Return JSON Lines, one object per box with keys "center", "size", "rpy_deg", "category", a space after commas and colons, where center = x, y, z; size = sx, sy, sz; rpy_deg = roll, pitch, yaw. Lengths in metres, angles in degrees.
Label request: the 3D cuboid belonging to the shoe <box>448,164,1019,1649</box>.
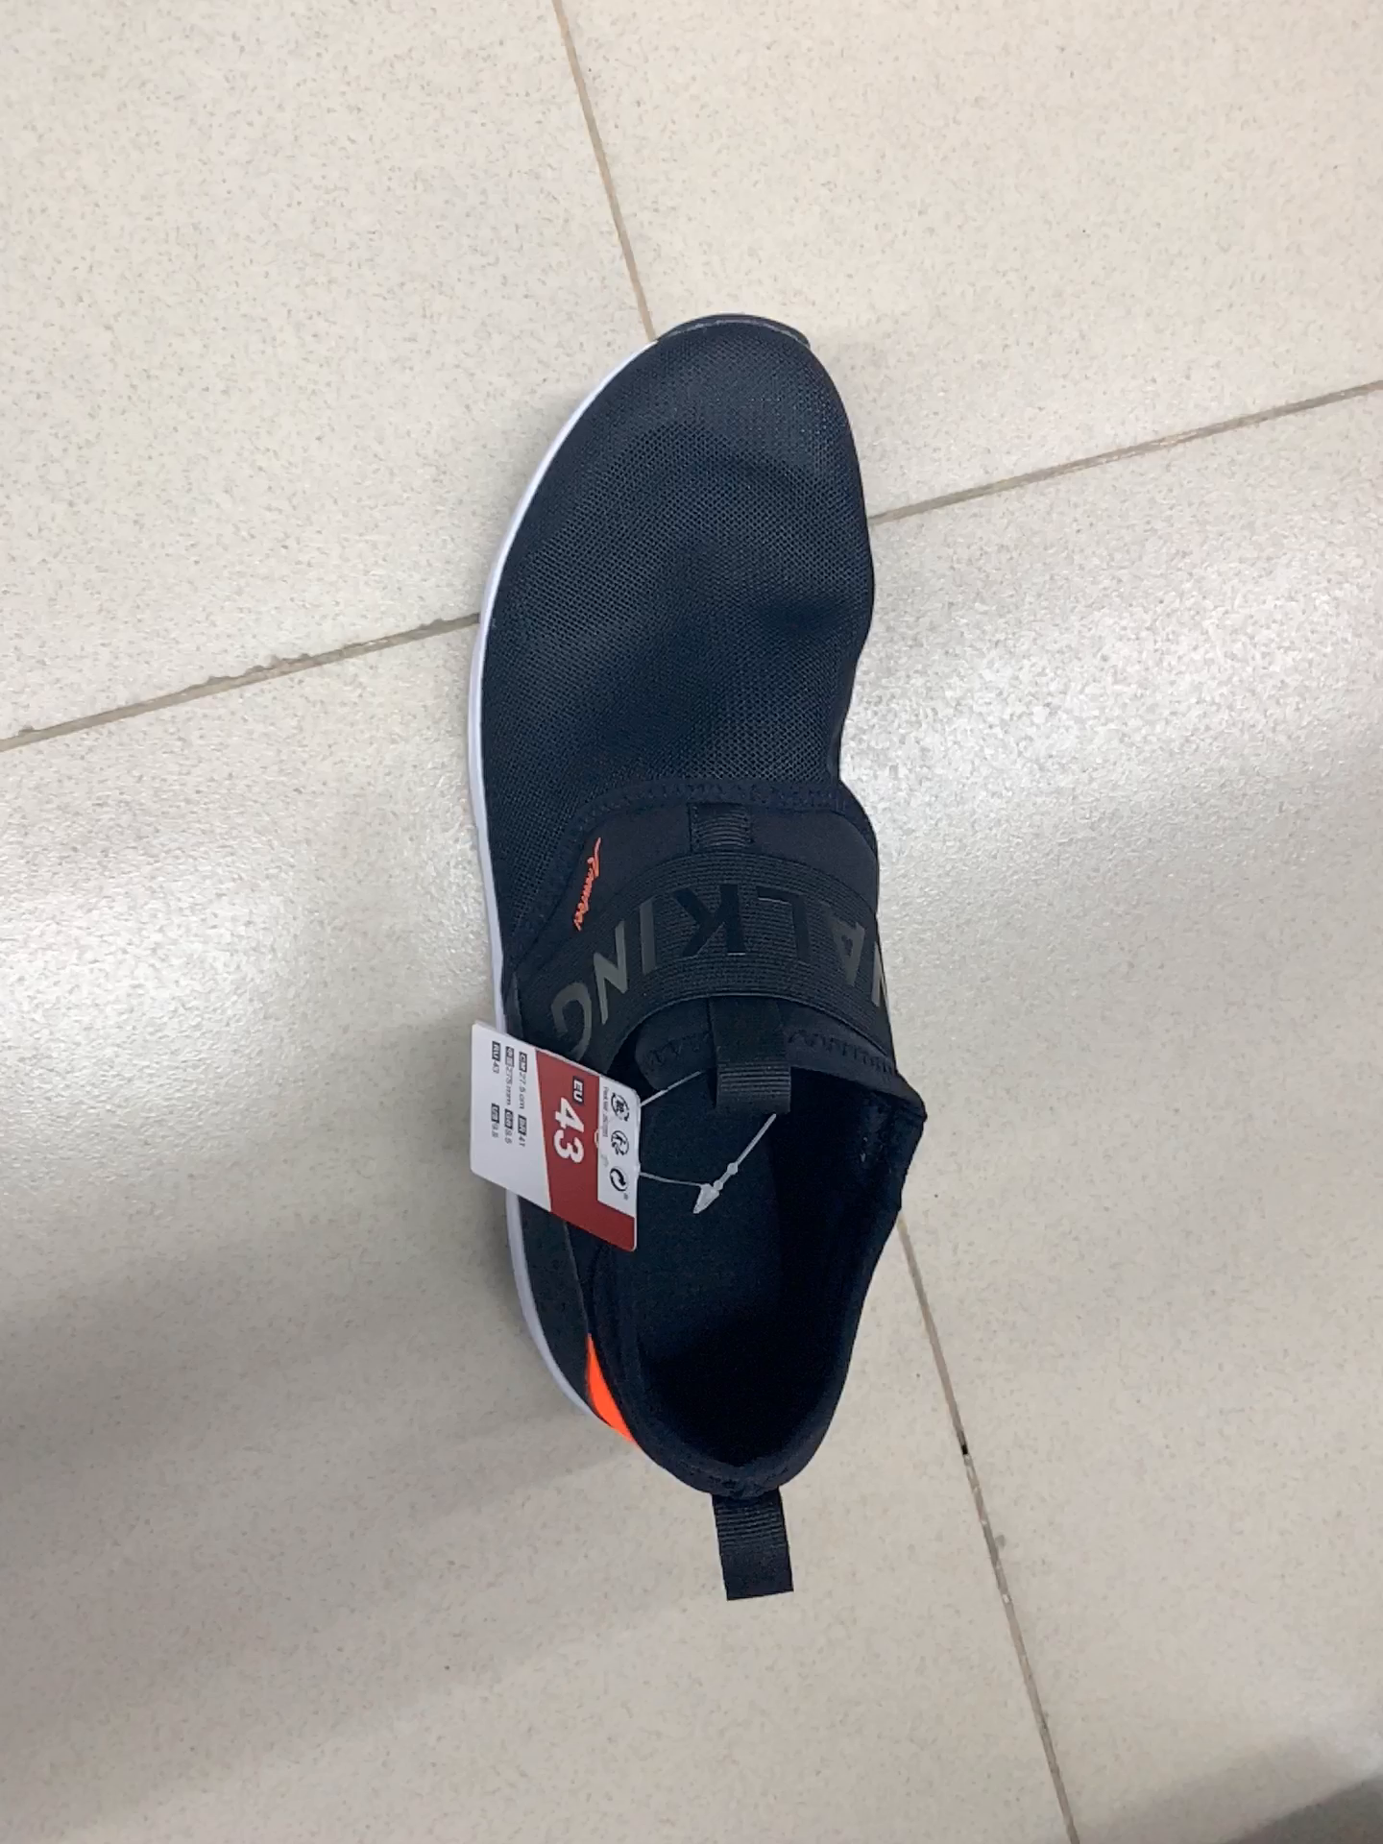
{"center": [0.000, -0.002, 0.336], "size": [0.110, 0.120, 0.280], "rpy_deg": [-1, 93, -9], "category": "shoe"}
